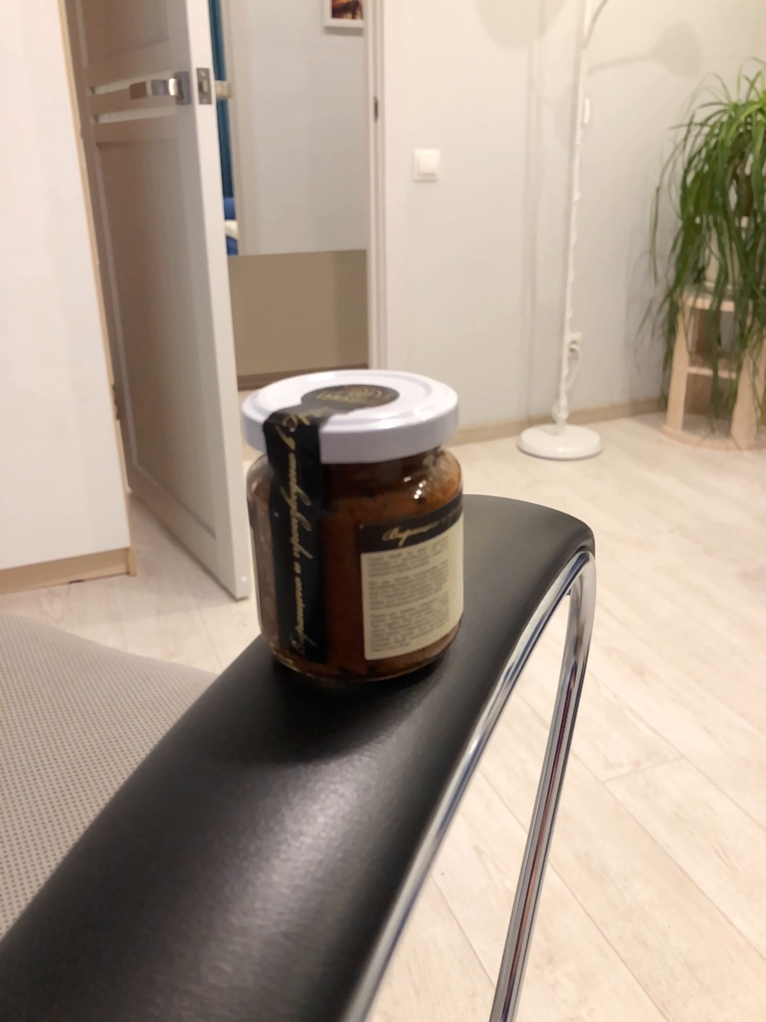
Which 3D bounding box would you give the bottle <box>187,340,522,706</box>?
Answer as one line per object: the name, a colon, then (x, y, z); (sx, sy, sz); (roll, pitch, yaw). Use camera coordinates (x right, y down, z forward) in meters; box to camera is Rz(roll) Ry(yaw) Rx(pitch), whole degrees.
bottle: (-0.005, -0.002, 0.225); (0.060, 0.070, 0.060); (14, 26, 32)
